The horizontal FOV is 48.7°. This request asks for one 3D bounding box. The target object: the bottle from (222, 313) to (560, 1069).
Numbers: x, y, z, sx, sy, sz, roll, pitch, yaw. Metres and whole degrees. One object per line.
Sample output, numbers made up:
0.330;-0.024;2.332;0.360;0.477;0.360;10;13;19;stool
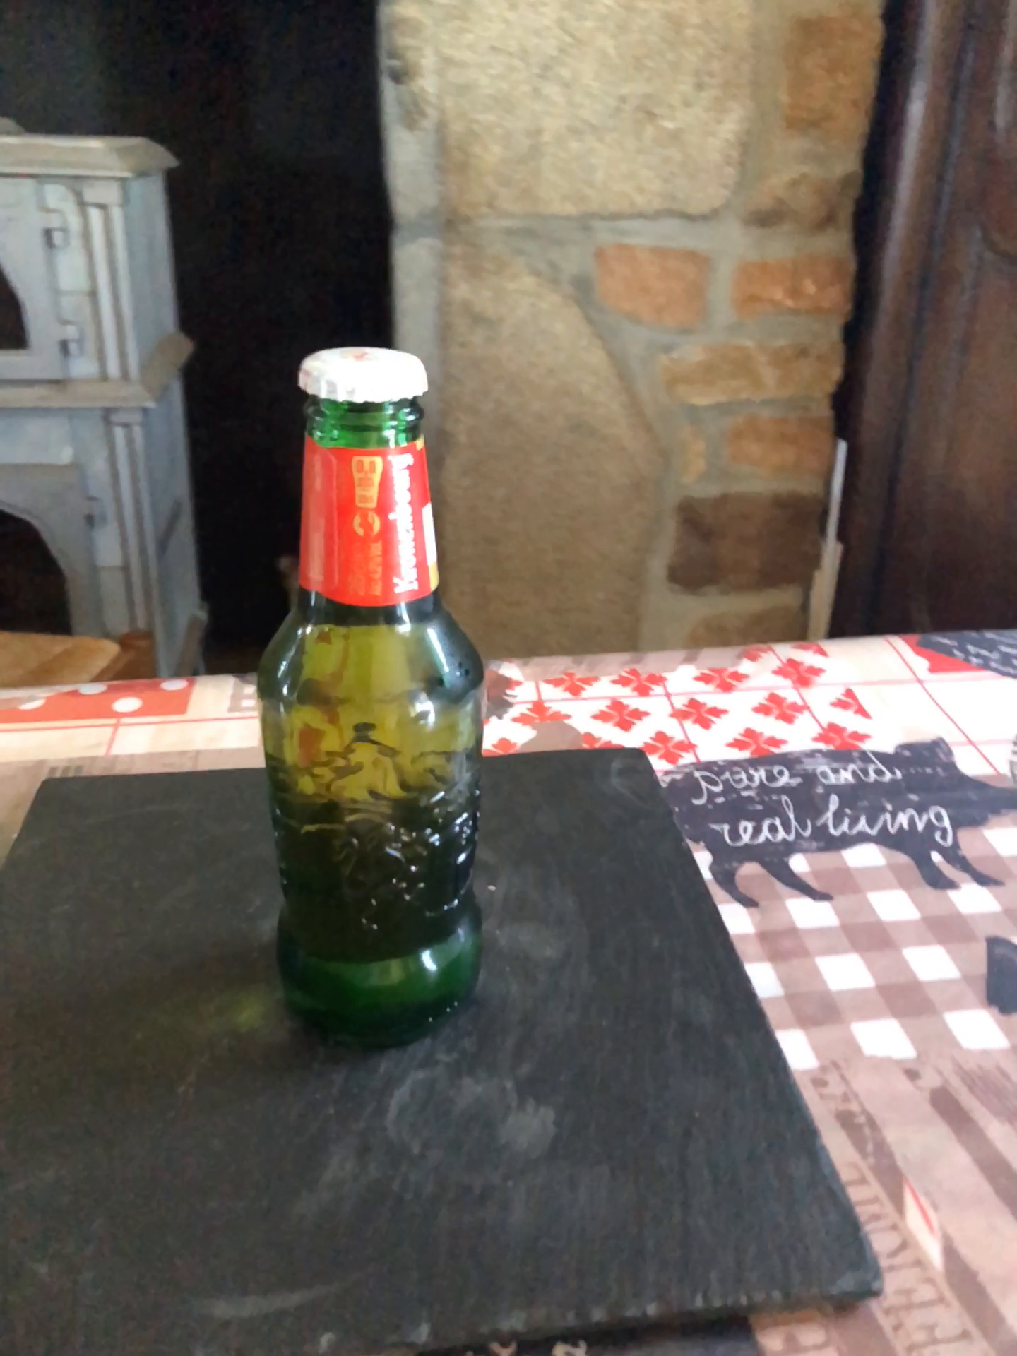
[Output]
-0.030;0.004;0.291;0.060;0.179;0.060;1;26;0;bottle
